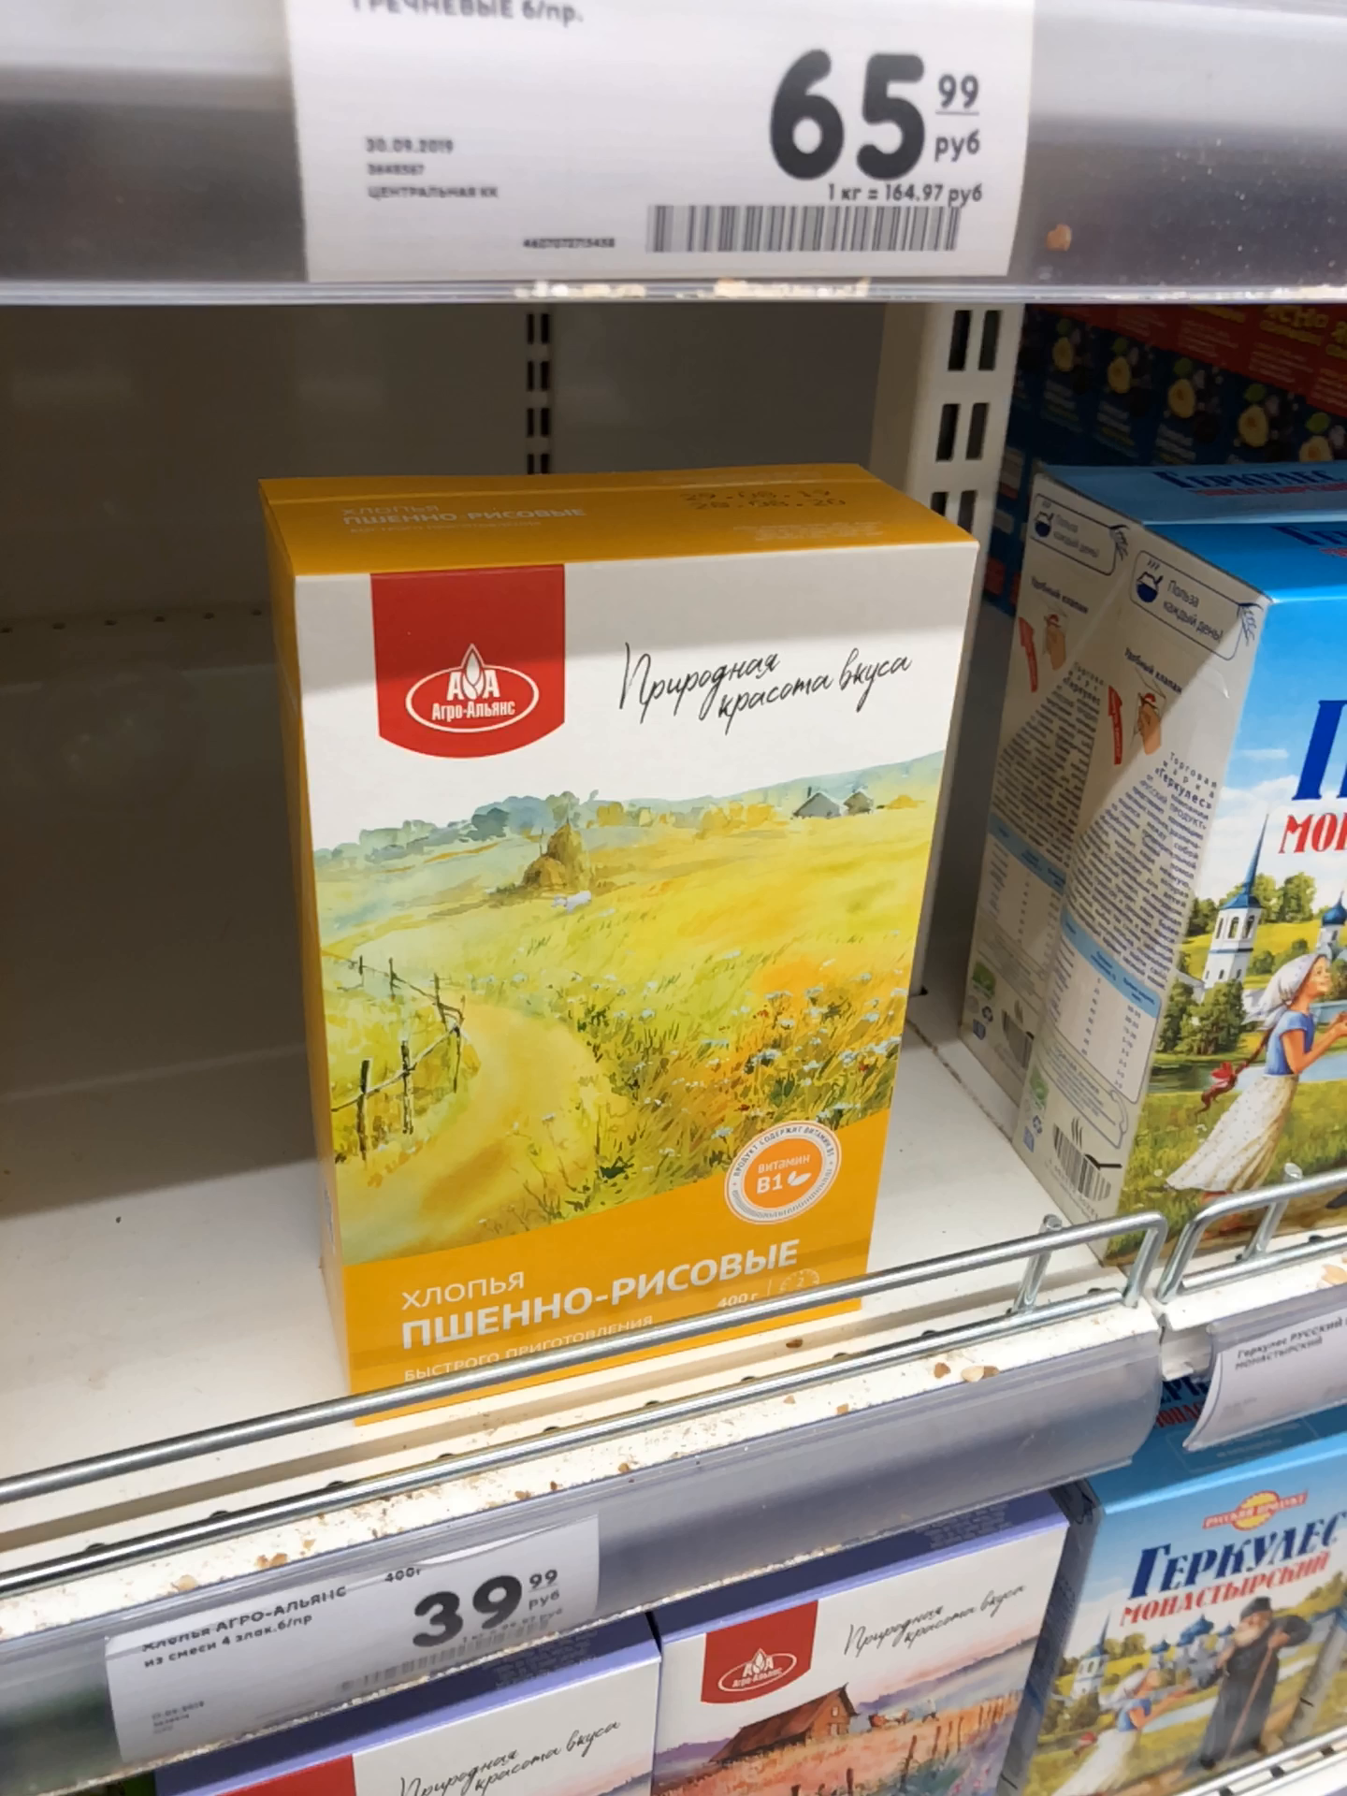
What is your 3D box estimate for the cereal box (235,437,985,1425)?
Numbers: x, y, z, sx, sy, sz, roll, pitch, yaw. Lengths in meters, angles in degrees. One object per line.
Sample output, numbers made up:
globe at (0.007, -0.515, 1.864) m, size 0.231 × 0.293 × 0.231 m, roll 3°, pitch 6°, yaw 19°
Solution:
cereal box at (-0.017, 0.009, 0.331) m, size 0.130 × 0.199 × 0.060 m, roll -8°, pitch 31°, yaw -18°
